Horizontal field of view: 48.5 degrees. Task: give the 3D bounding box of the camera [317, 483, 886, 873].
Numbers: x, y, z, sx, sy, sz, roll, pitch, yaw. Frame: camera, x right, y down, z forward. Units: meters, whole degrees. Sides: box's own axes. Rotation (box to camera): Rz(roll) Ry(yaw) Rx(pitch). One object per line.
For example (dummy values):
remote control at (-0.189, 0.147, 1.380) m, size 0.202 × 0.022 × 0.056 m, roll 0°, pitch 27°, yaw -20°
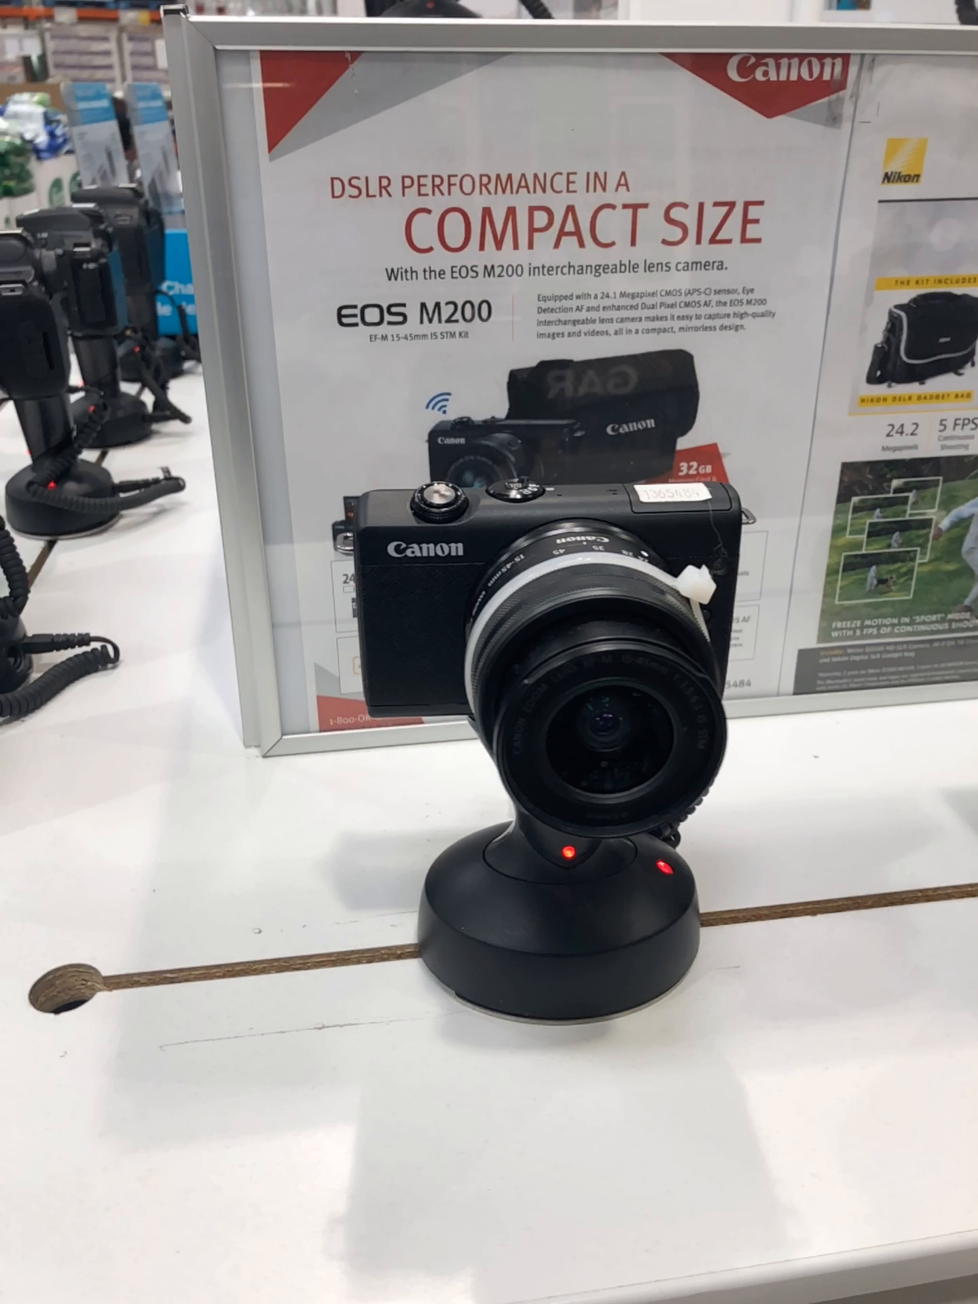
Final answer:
camera at (0.019, -0.002, 0.291) m, size 0.120 × 0.050 × 0.120 m, roll -3°, pitch 26°, yaw -5°
